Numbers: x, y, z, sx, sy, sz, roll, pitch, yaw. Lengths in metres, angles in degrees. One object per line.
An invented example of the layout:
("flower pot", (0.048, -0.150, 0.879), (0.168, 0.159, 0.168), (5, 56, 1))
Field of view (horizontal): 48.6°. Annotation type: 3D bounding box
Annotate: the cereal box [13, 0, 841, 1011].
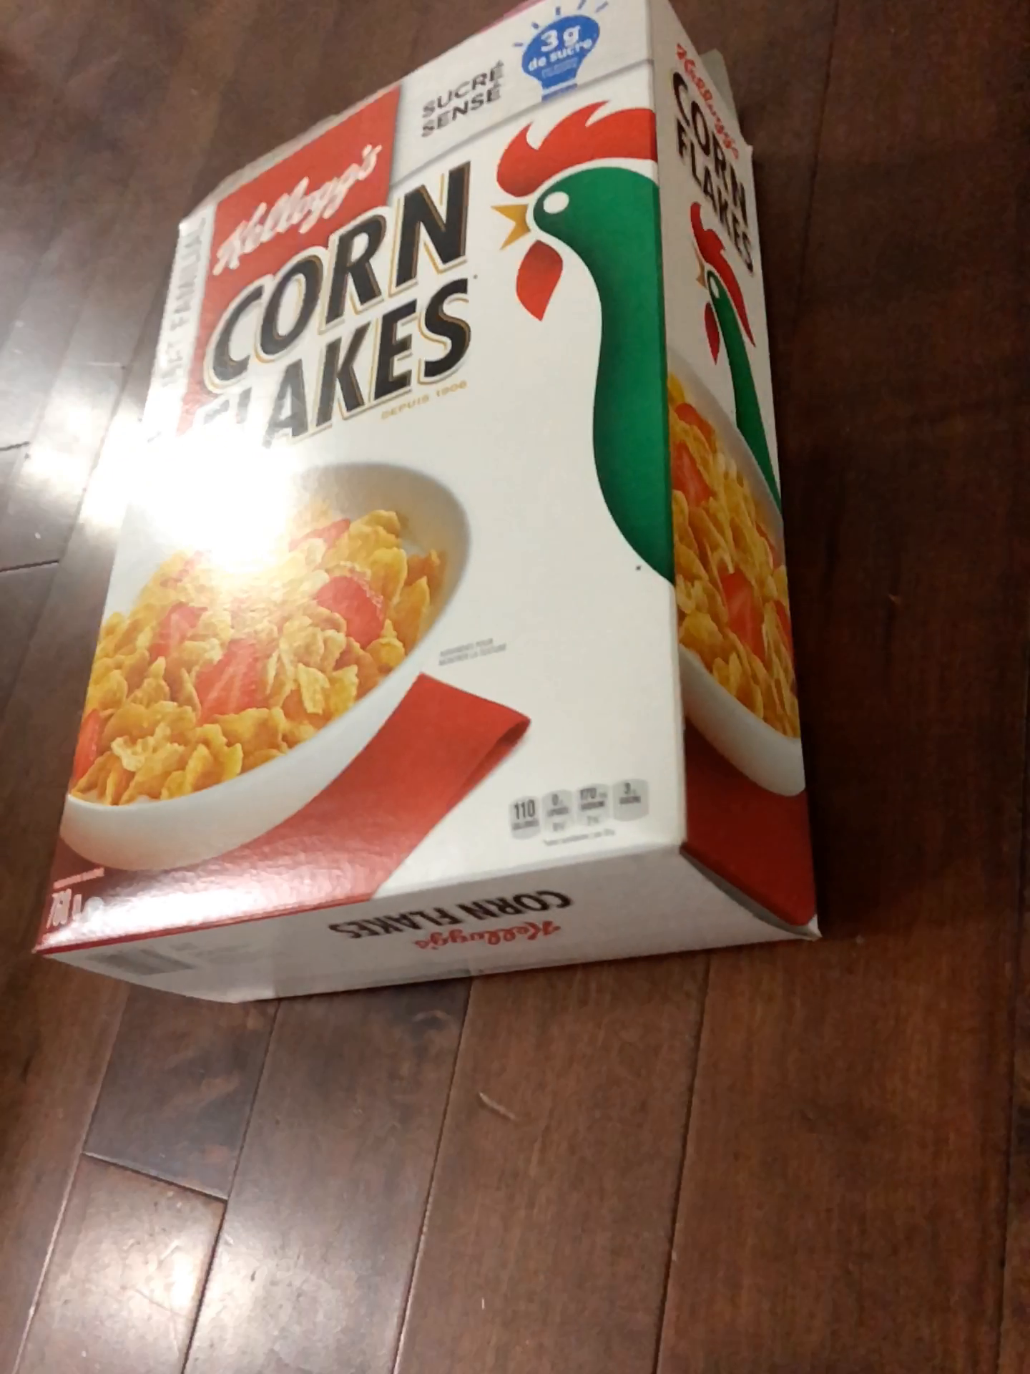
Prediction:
("cereal box", (-0.036, -0.085, 0.444), (0.261, 0.090, 0.380), (-14, 61, 30))
